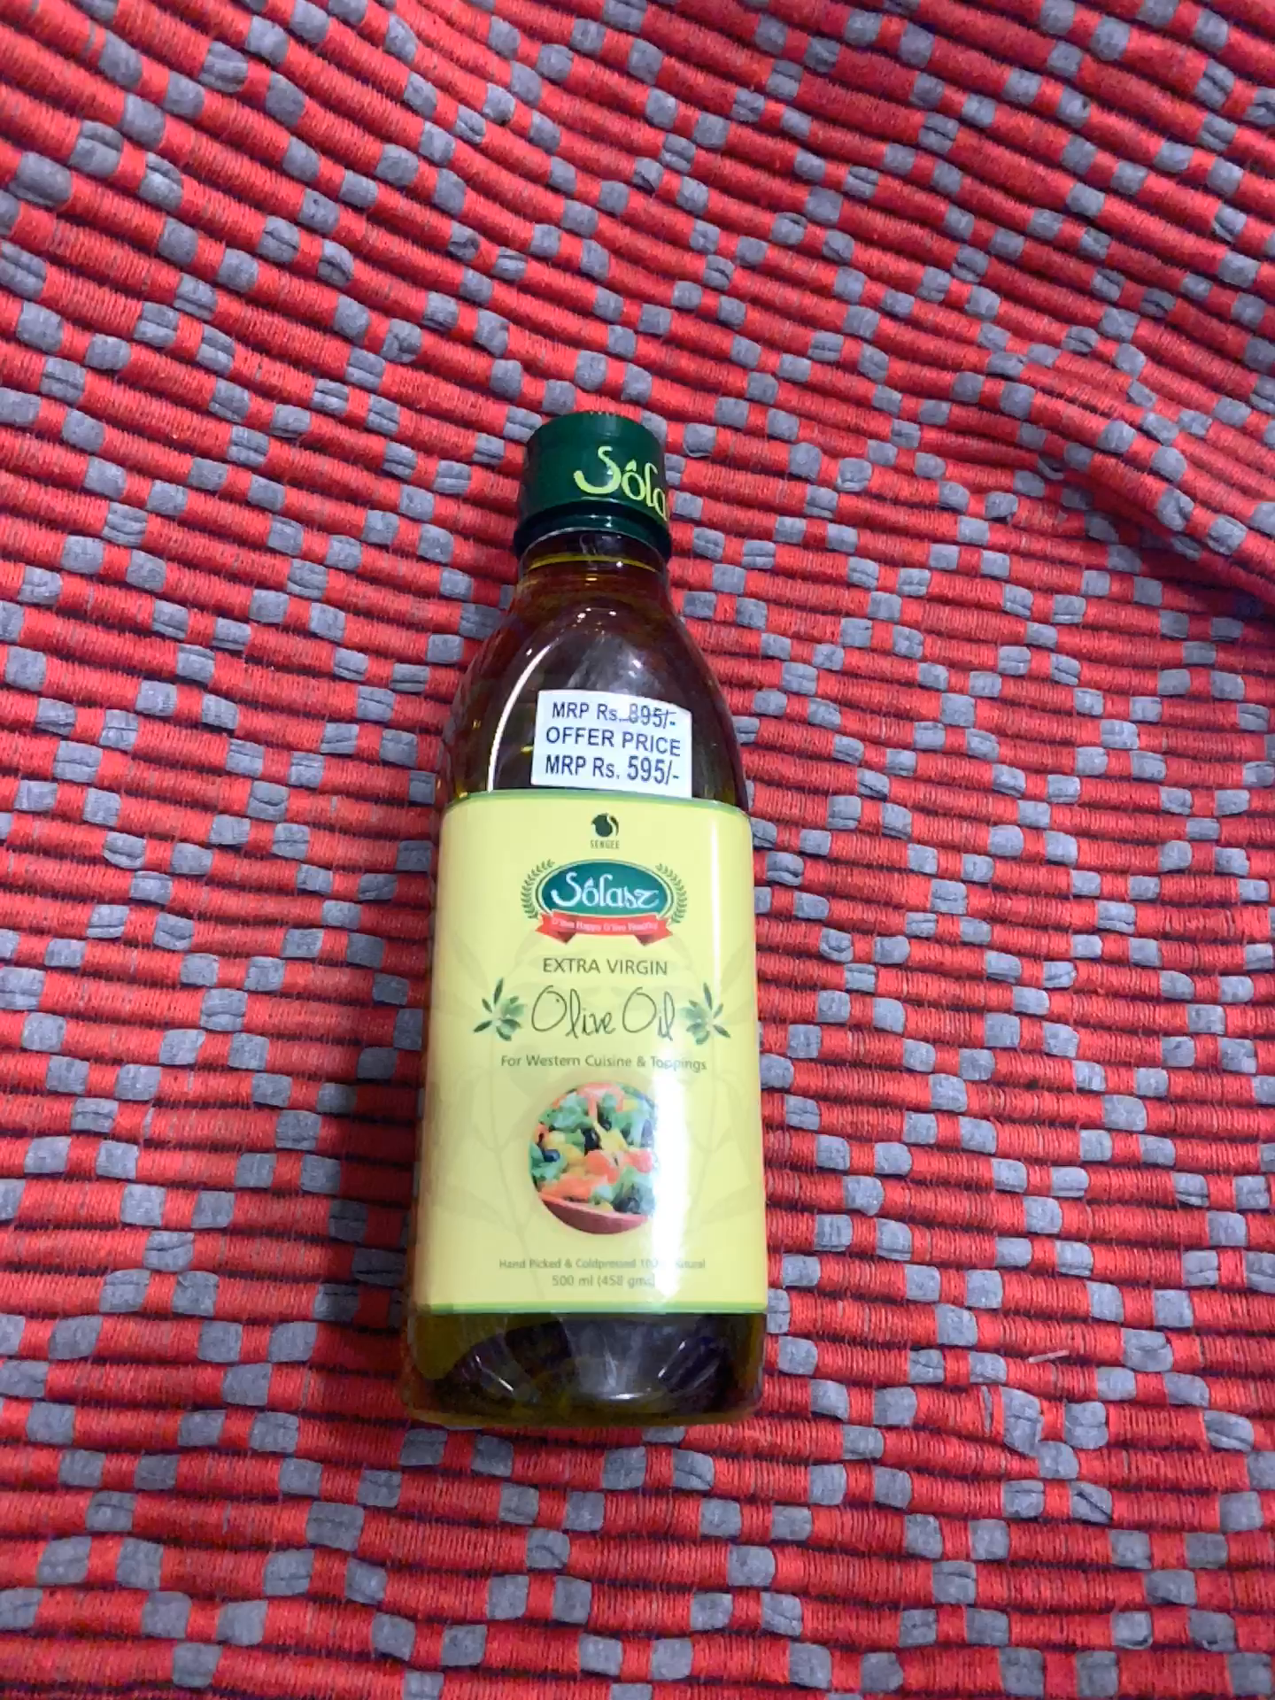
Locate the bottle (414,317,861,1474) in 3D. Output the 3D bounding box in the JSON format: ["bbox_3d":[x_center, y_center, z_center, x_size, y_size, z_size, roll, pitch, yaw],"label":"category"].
[{"bbox_3d":[-0.004,0.005,0.247,0.060,0.070,0.200,3,66,-7],"label":"bottle"}]
